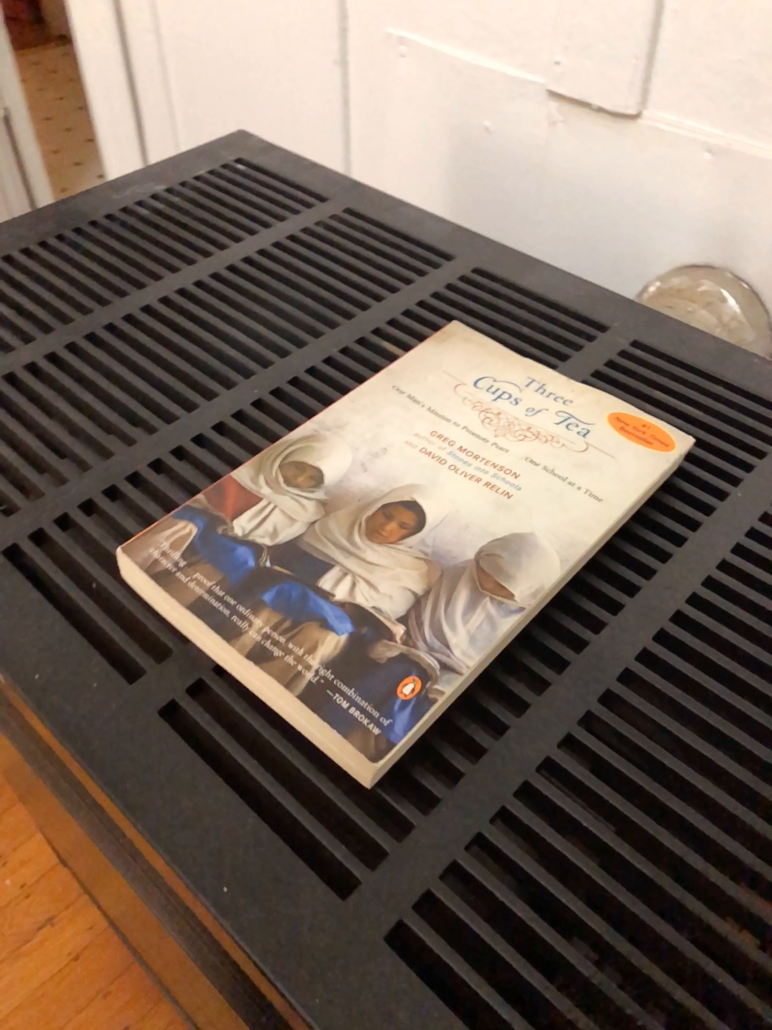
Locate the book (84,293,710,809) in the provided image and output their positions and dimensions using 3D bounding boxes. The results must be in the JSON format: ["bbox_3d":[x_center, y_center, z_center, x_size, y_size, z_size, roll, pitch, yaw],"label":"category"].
[{"bbox_3d":[0.014,-0.010,0.350,0.140,0.030,0.221,31,53,27],"label":"book"}]
